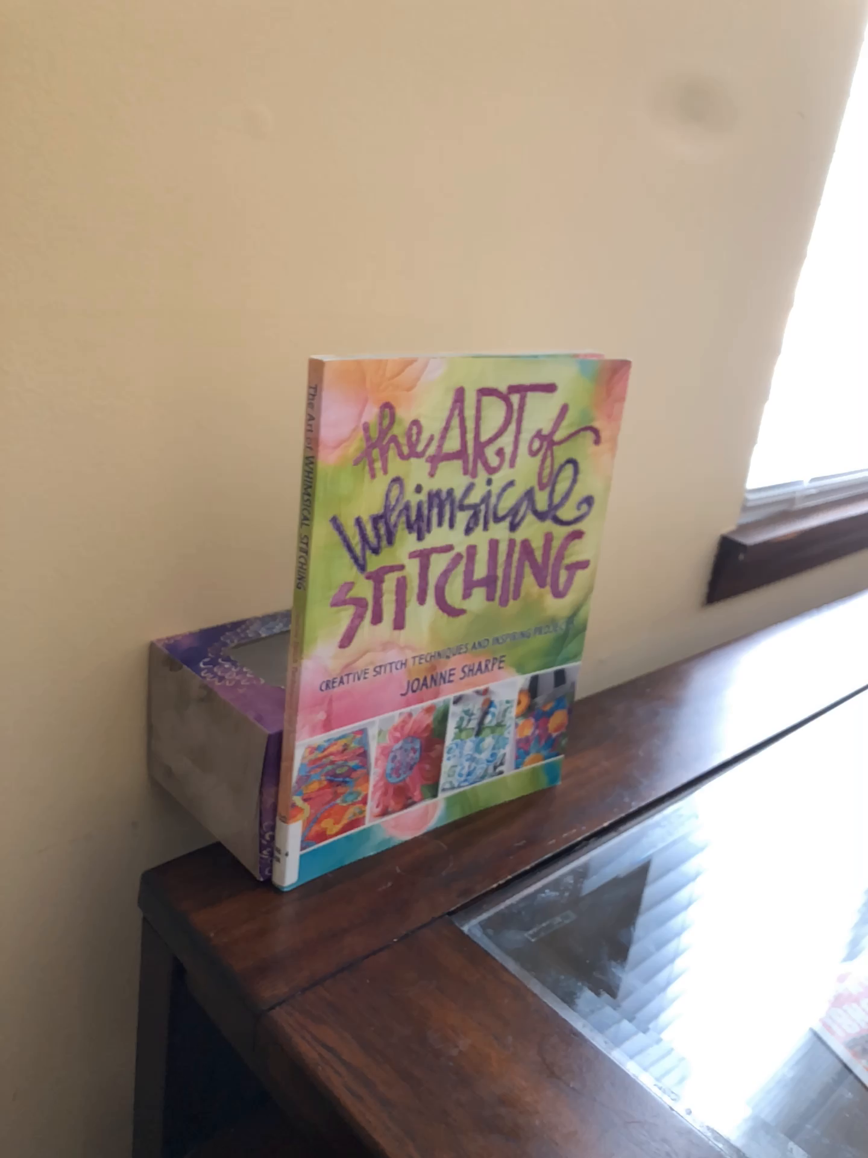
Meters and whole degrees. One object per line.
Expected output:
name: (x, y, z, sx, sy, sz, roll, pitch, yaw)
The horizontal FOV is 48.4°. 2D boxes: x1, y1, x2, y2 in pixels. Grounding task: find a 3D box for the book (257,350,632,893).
book: (0.009, 0.013, 0.522, 0.214, 0.263, 0.029, -10, 23, -39)
